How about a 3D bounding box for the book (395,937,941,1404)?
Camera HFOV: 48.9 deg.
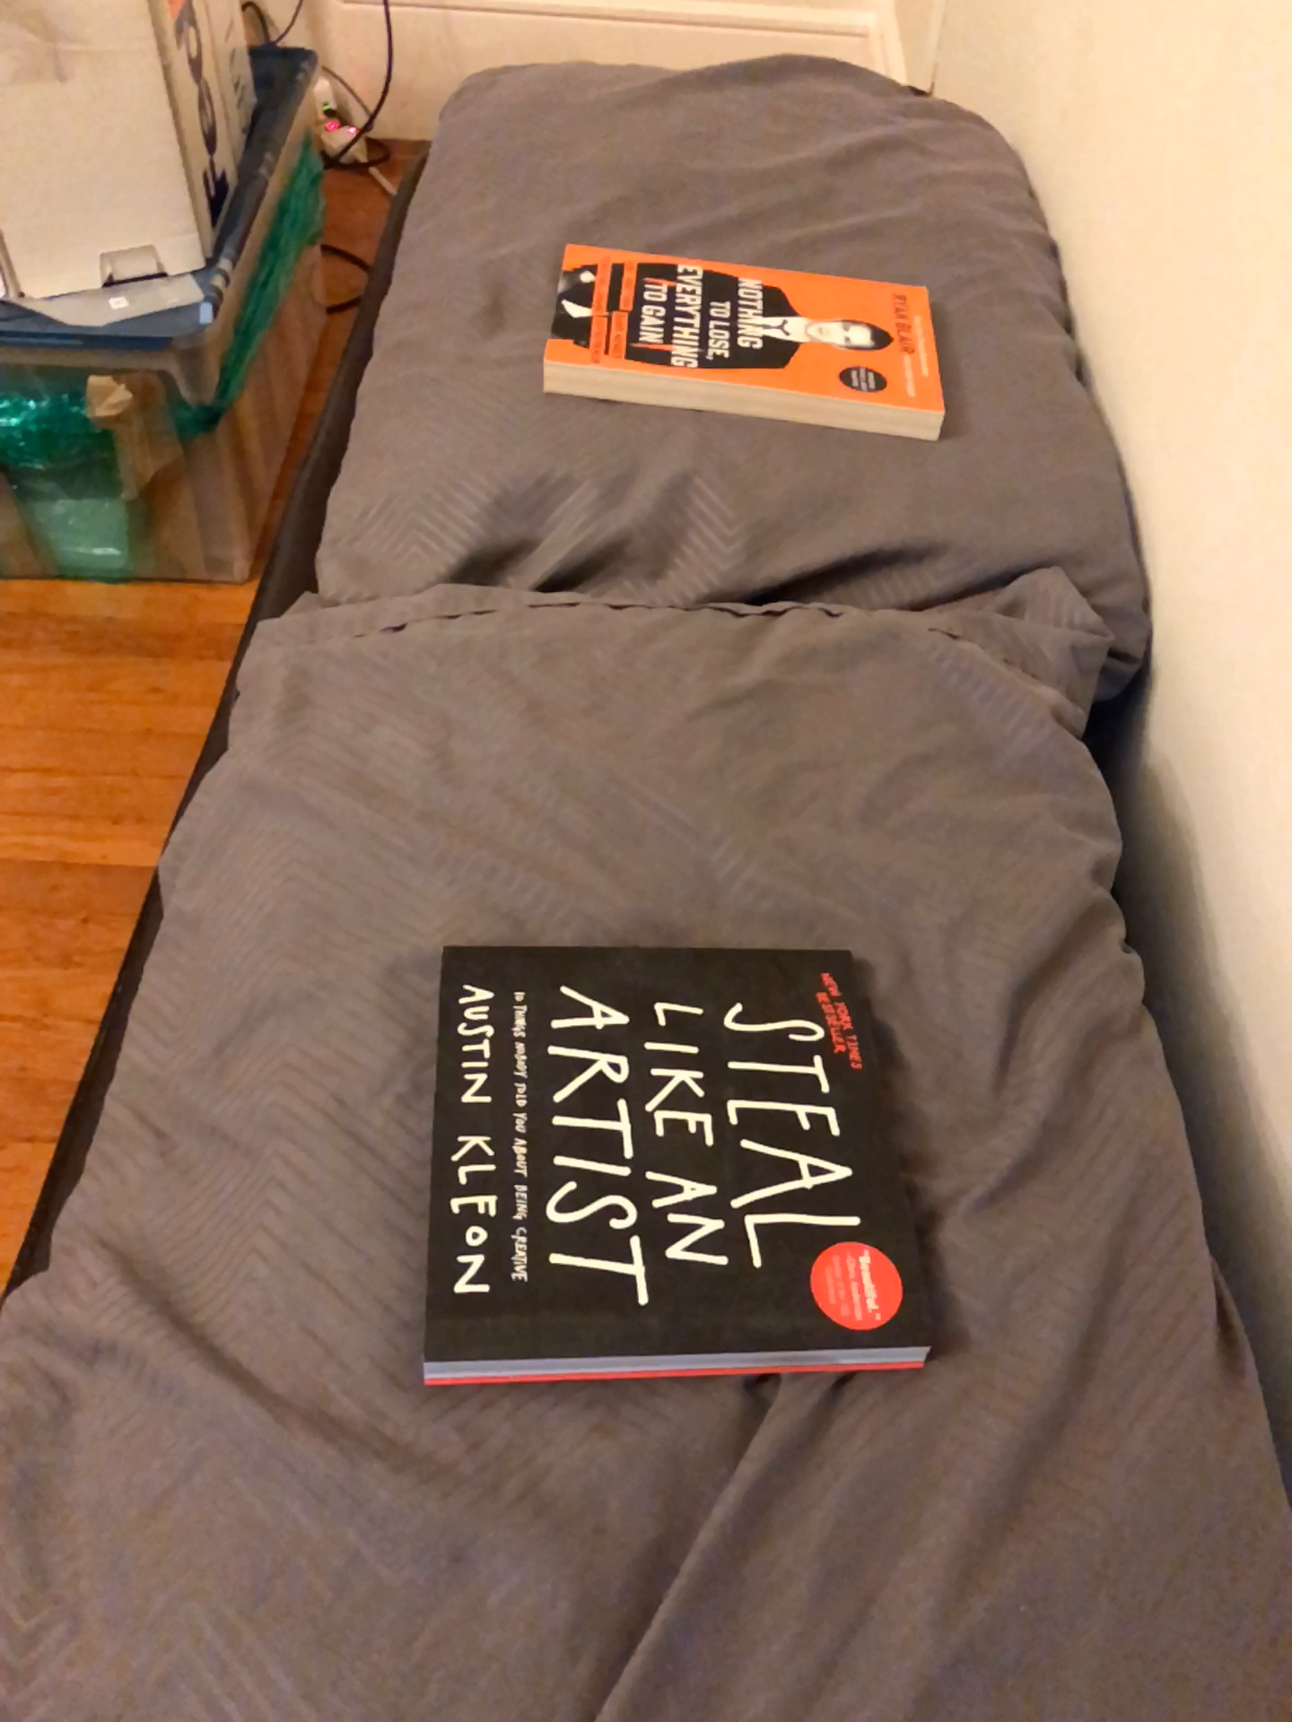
[{"bbox_3d":[0.003,0.095,0.475,0.160,0.020,0.161,1,49,-5],"label":"book"}]
